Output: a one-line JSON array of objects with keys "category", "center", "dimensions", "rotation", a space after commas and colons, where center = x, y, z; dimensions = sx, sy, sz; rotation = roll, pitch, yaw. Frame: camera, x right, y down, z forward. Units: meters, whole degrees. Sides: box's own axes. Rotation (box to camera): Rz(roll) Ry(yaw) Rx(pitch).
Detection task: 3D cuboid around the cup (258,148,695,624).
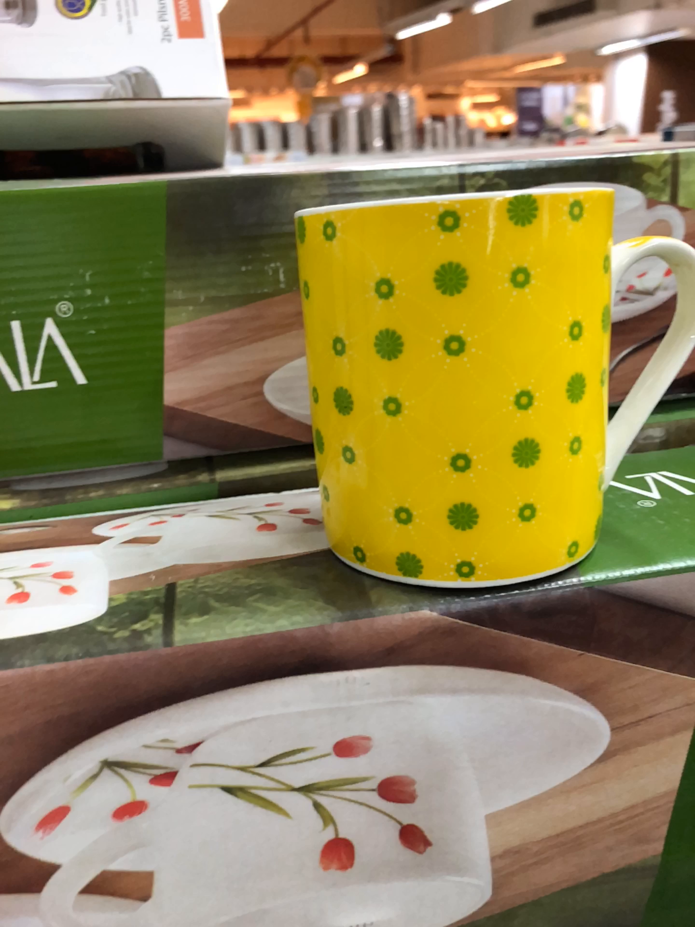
[{"category": "cup", "center": [0.040, -0.026, 0.203], "dimensions": [0.110, 0.090, 0.080], "rotation": [-7, 15, -10]}]
